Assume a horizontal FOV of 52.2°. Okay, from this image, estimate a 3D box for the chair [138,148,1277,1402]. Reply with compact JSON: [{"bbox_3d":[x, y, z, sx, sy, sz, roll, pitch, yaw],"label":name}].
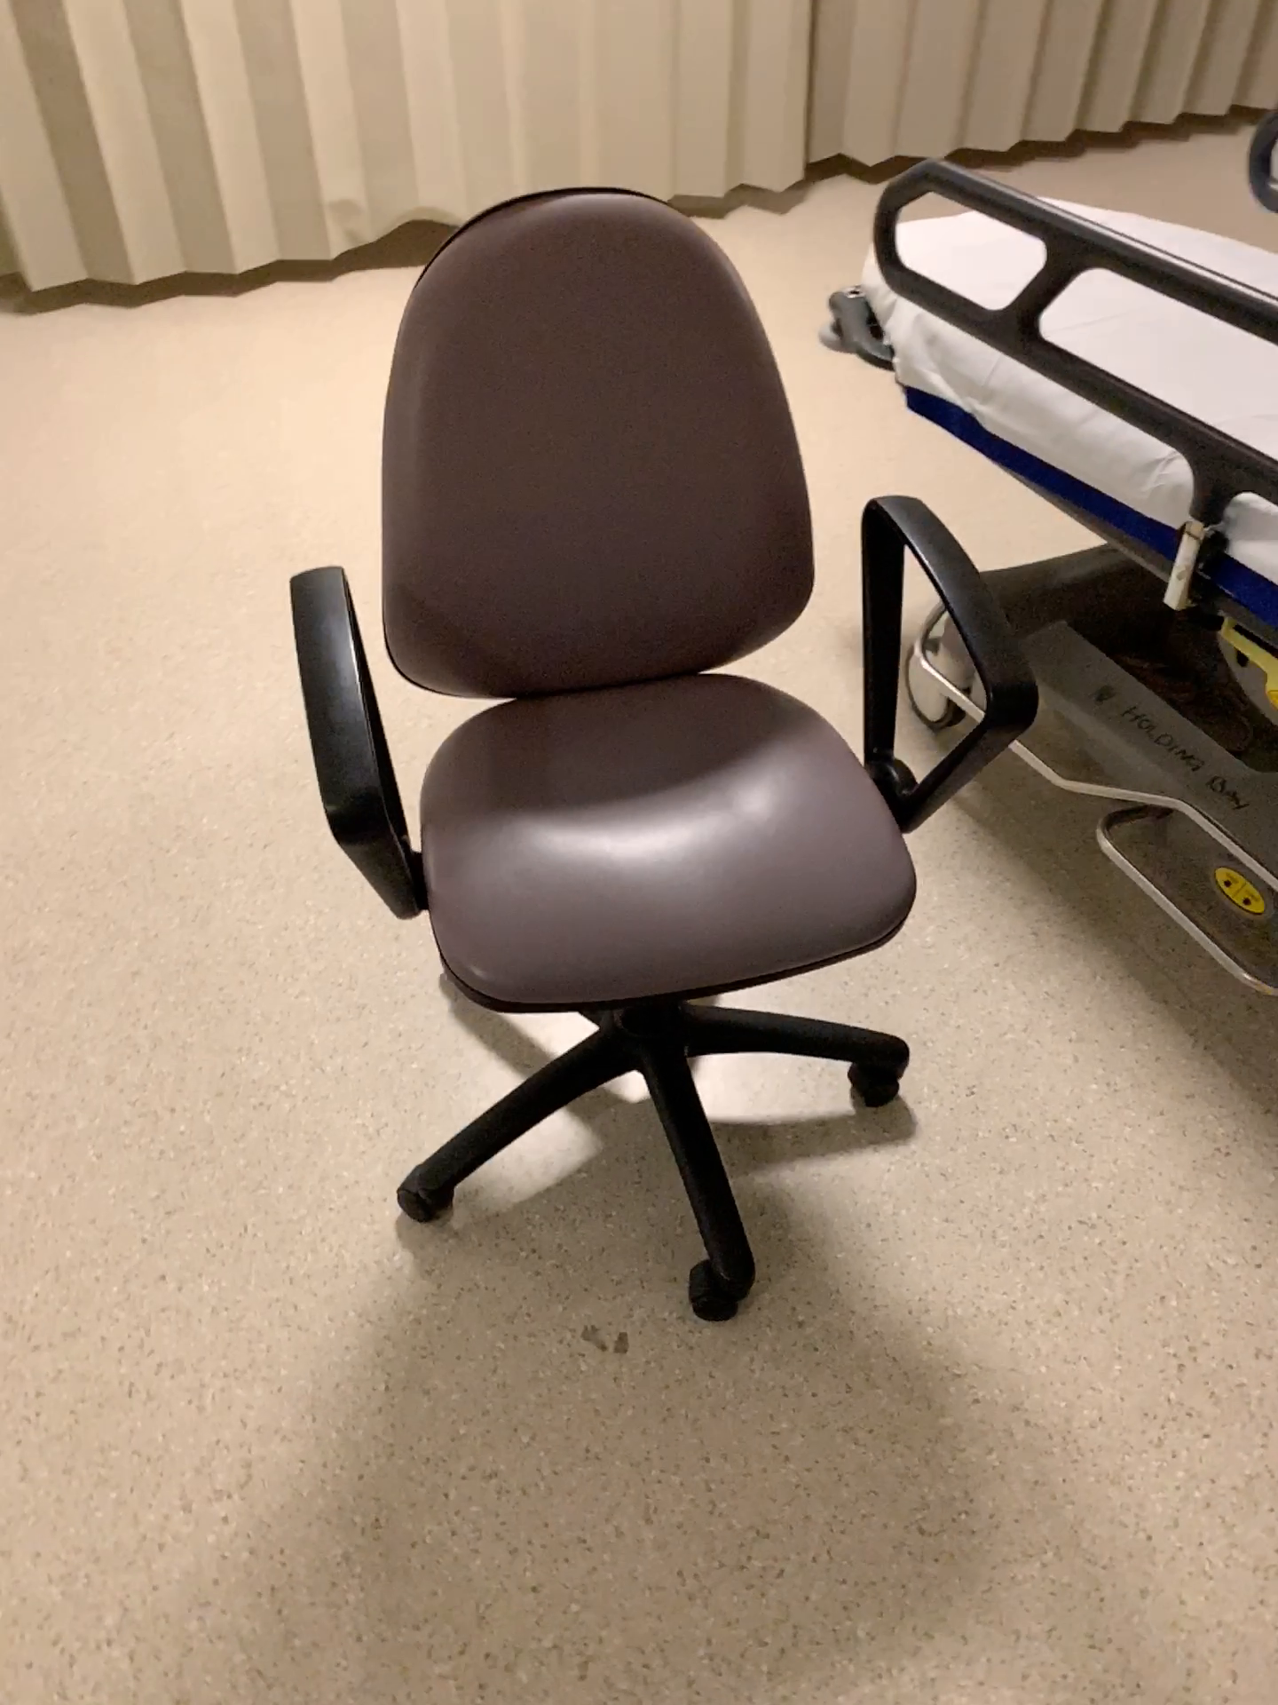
[{"bbox_3d":[0.001,-0.074,1.262,0.650,0.882,0.716,-8,44,-8],"label":"chair"}]
